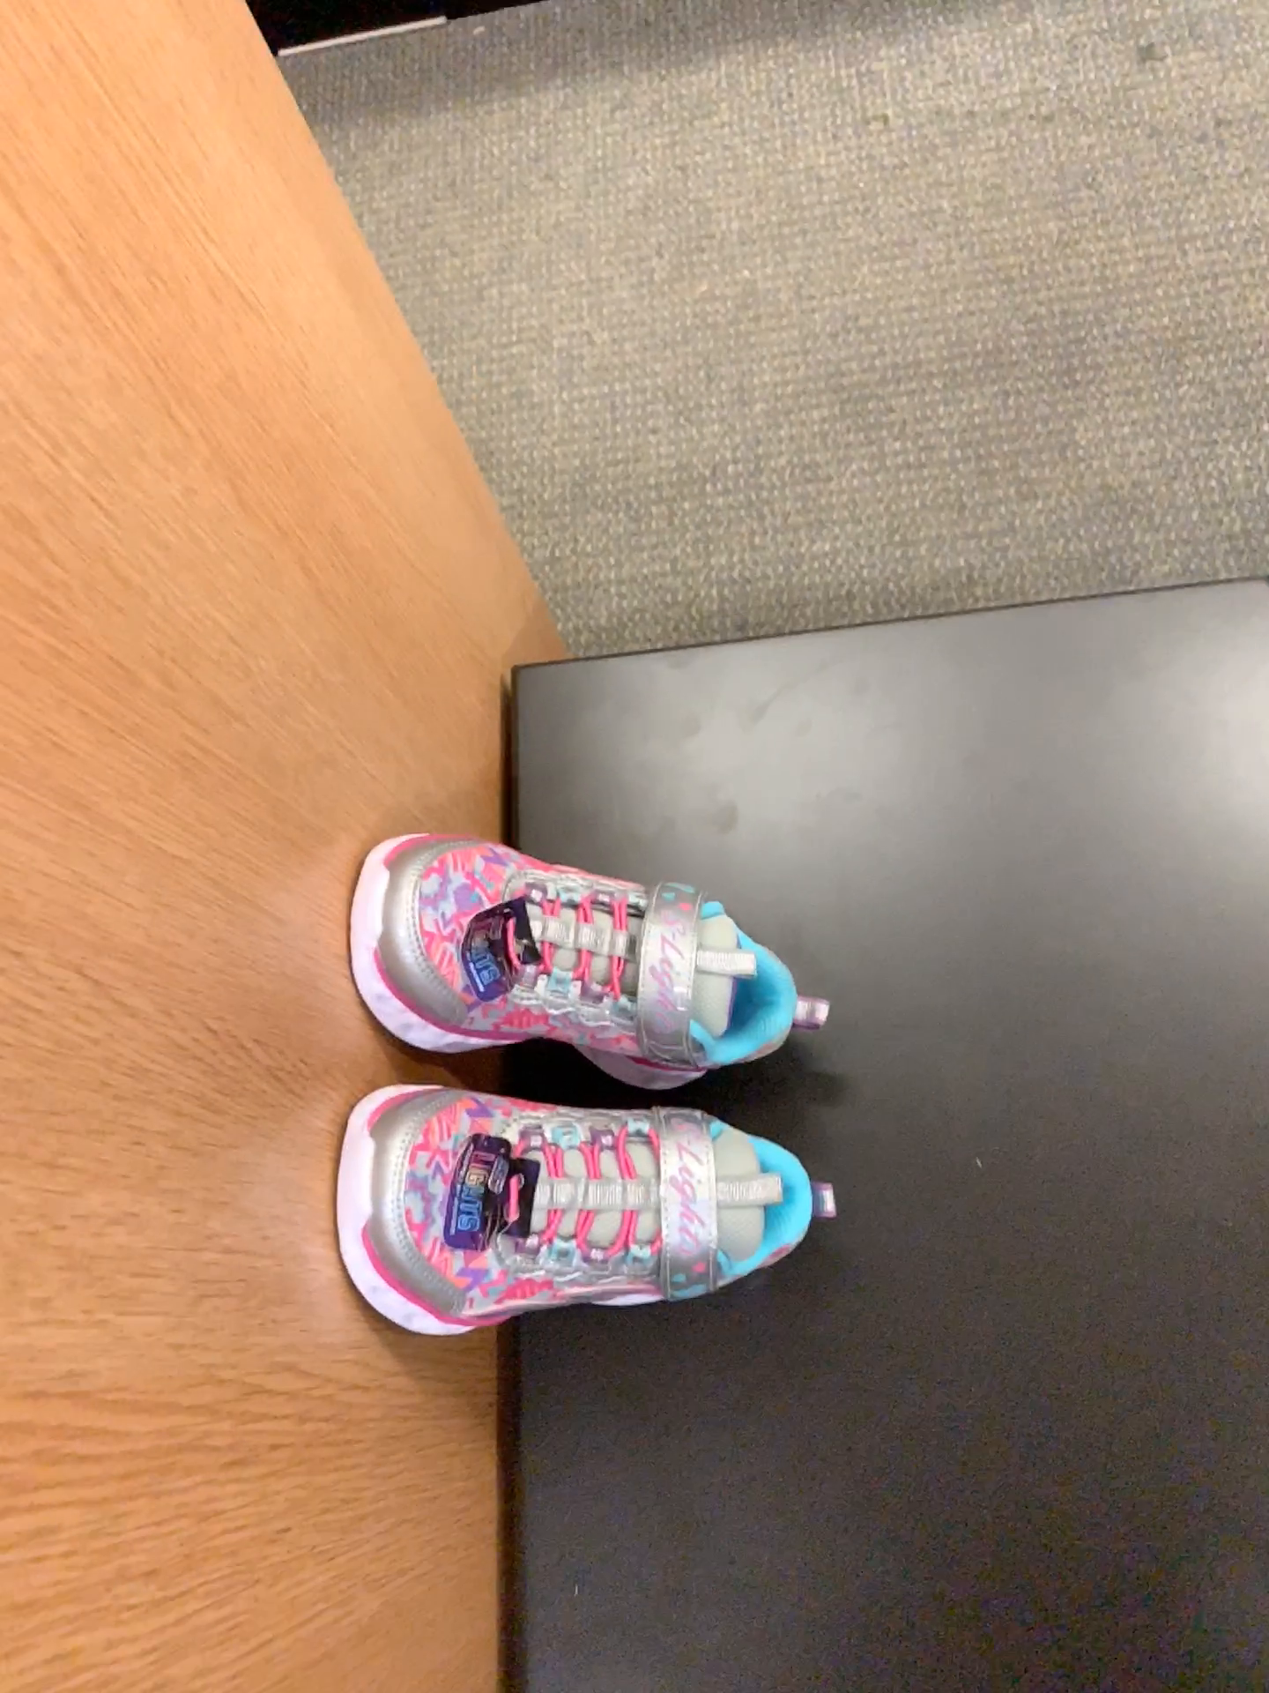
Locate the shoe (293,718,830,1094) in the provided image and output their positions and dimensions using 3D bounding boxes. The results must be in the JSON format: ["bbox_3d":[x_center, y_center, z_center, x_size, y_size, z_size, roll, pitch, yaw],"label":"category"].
[{"bbox_3d":[-0.023,0.034,0.511,0.100,0.180,0.090,-22,59,46],"label":"shoe"}]

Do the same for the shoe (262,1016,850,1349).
[{"bbox_3d":[-0.025,0.127,0.468,0.100,0.180,0.090,-26,59,44],"label":"shoe"}]
